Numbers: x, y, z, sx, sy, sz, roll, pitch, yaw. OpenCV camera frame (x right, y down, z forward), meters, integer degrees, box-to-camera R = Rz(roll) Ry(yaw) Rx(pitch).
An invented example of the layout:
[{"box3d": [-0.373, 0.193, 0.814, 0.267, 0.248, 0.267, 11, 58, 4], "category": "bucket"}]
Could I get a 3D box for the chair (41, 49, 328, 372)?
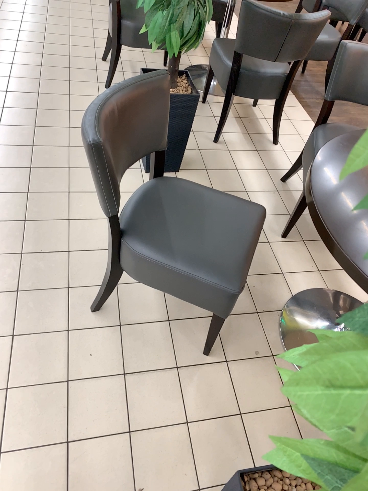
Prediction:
[{"box3d": [-0.009, -0.097, 1.319, 0.640, 0.797, 0.552, 22, 48, 8], "category": "chair"}]
